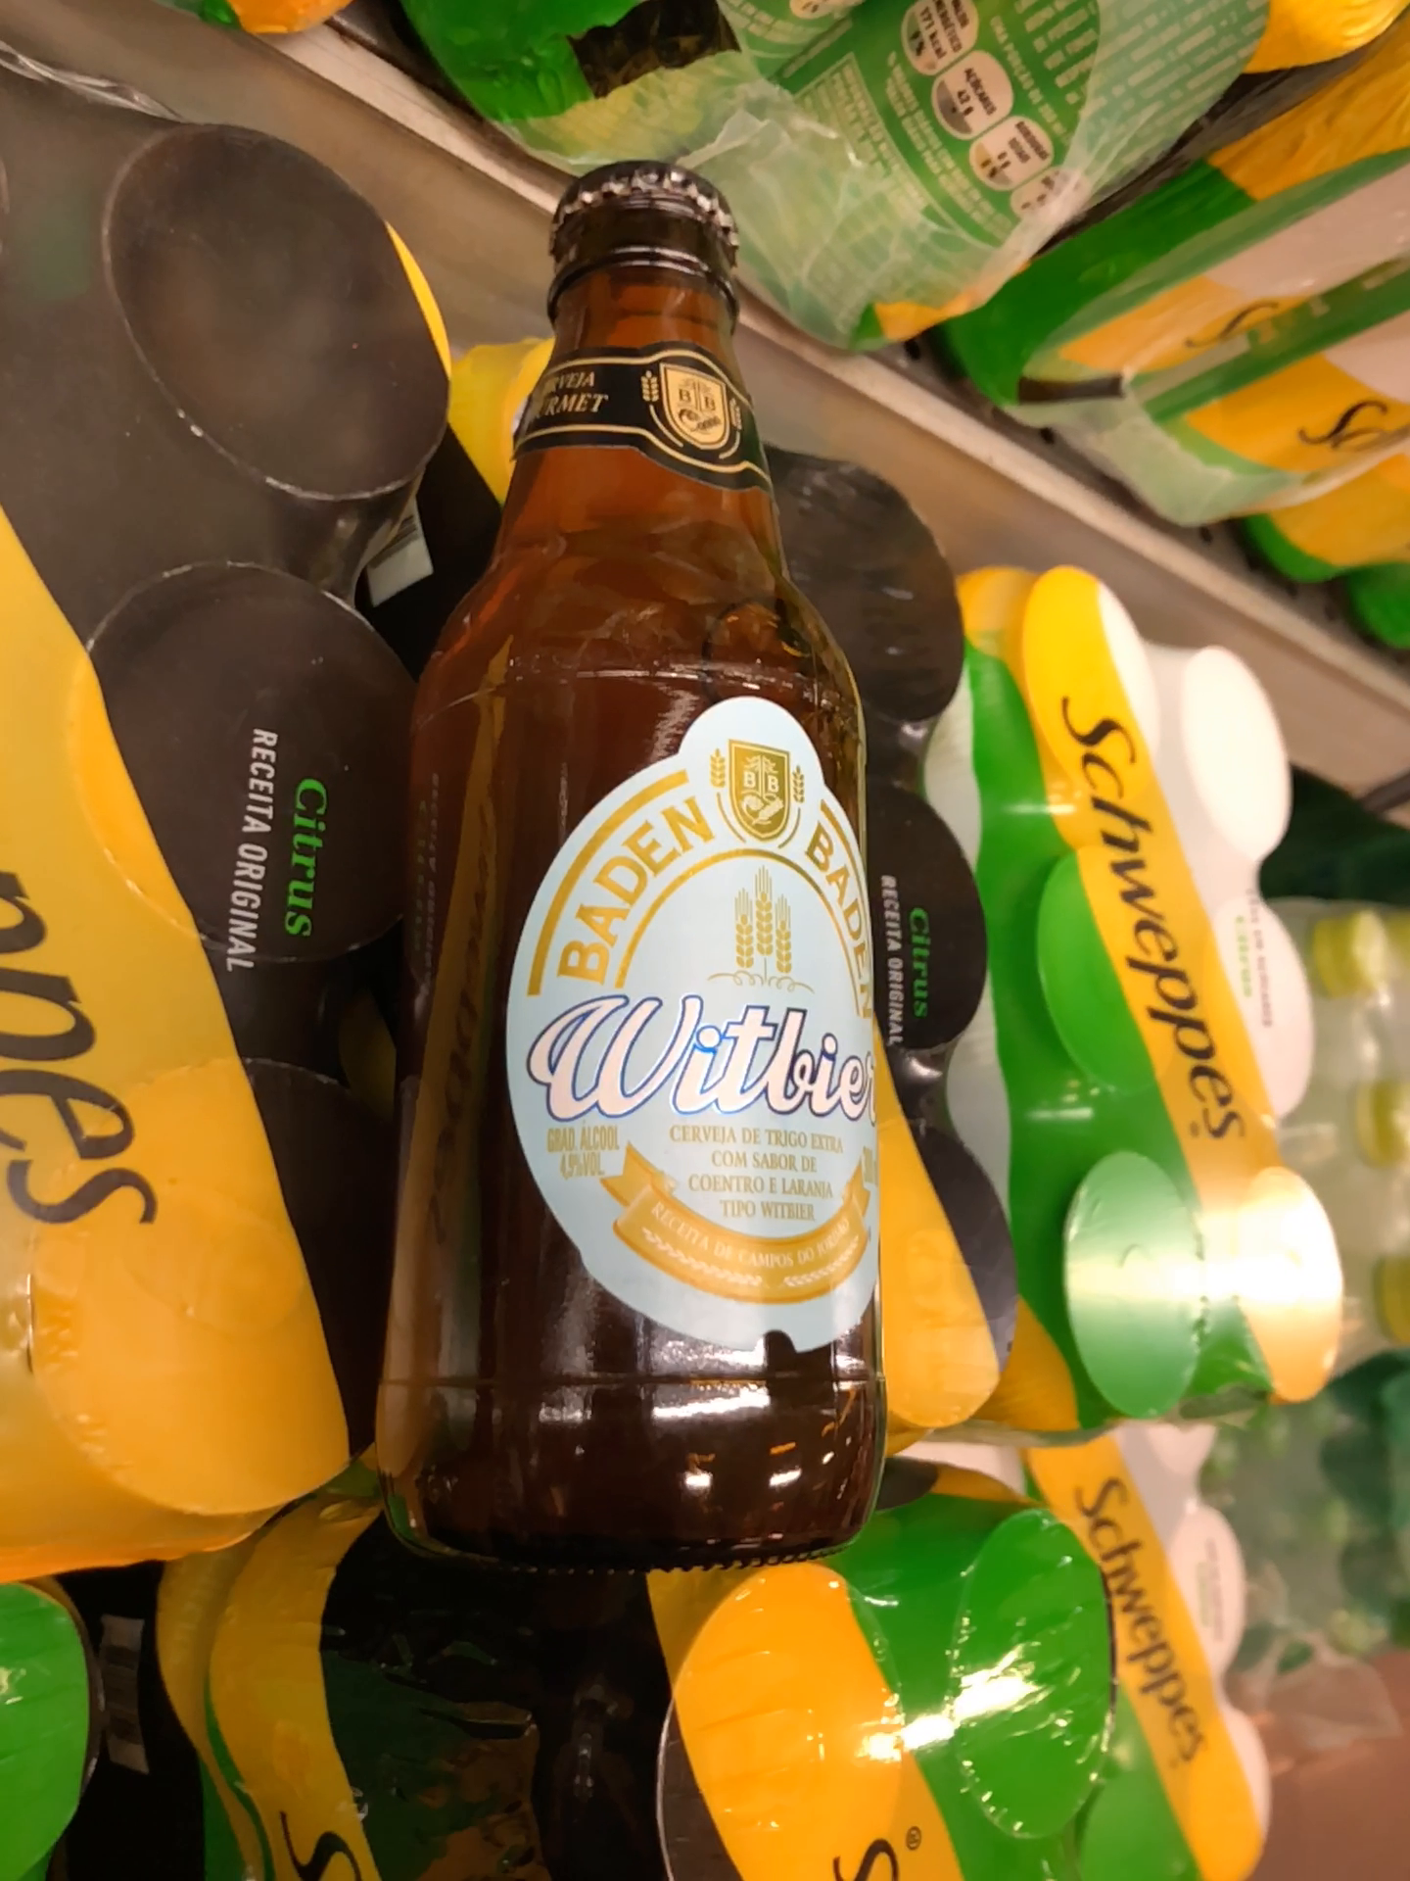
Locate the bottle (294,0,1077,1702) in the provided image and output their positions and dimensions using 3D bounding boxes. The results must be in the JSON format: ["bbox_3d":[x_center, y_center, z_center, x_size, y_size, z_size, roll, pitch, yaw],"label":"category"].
[{"bbox_3d":[0.003,-0.020,0.207,0.070,0.060,0.200,15,72,-43],"label":"bottle"}]
